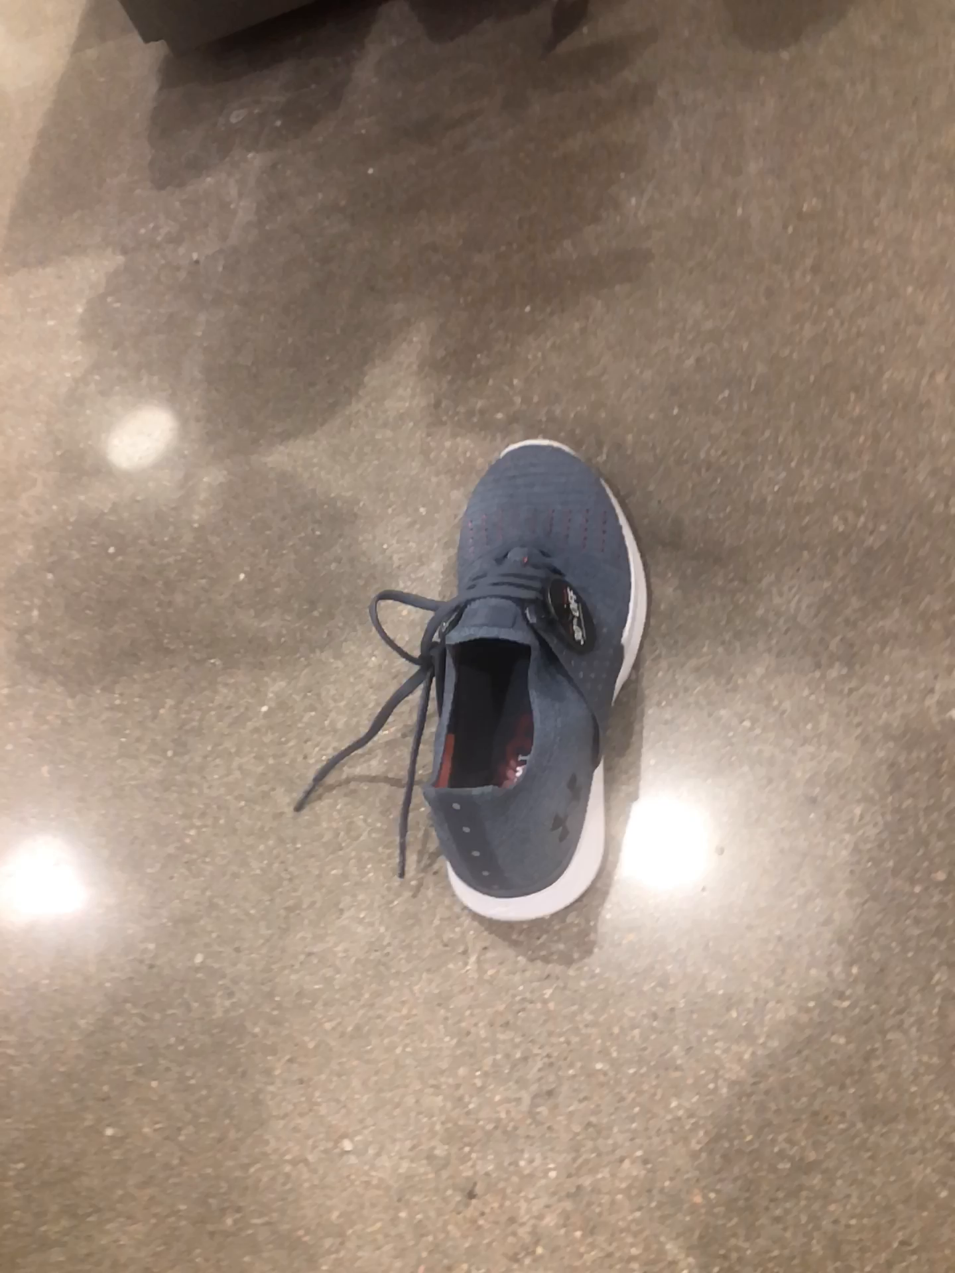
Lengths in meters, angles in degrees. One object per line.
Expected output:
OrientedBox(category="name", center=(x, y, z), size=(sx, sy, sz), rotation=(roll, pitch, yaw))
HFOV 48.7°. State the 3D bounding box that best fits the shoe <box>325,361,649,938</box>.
OrientedBox(category="shoe", center=(0.018, 0.004, 0.514), size=(0.100, 0.110, 0.250), rotation=(-3, 59, 20))
